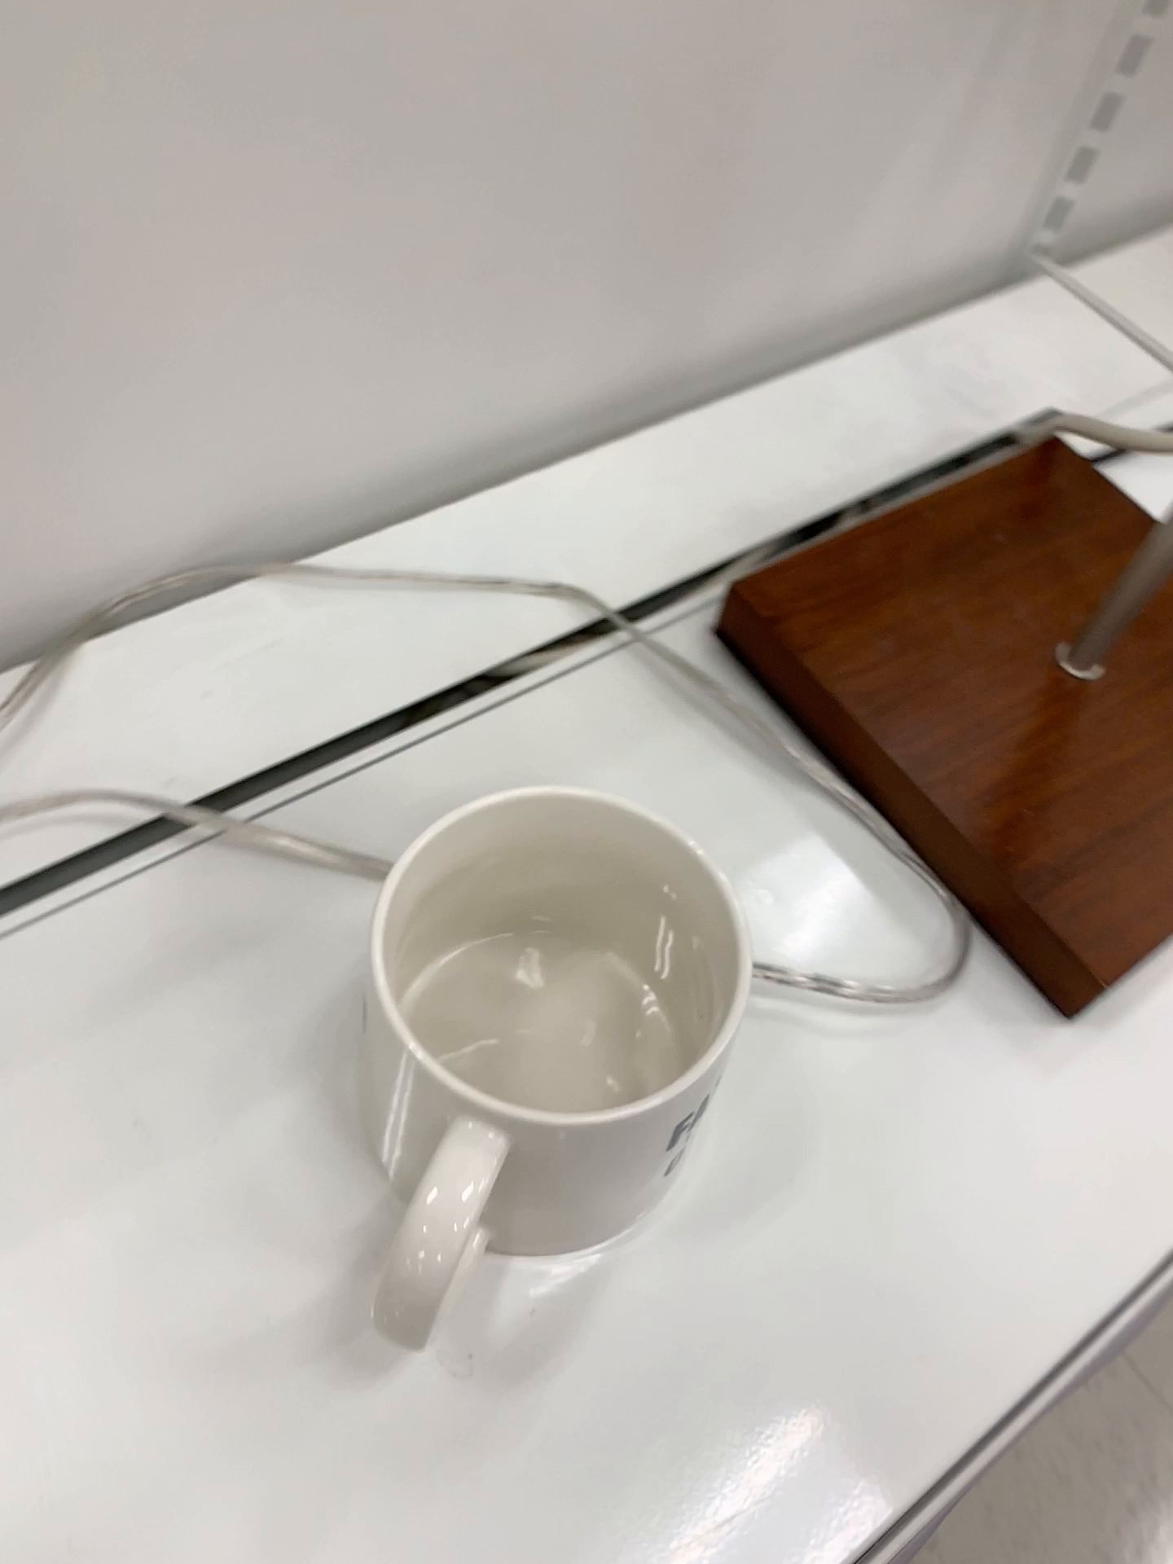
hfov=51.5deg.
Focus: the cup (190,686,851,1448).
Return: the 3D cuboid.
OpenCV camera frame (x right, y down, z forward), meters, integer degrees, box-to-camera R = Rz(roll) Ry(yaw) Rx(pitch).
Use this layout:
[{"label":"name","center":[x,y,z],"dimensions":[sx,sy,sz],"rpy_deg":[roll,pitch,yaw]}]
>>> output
[{"label":"cup","center":[-0.015,0.086,0.371],"dimensions":[0.120,0.120,0.160],"rpy_deg":[23,56,6]}]
